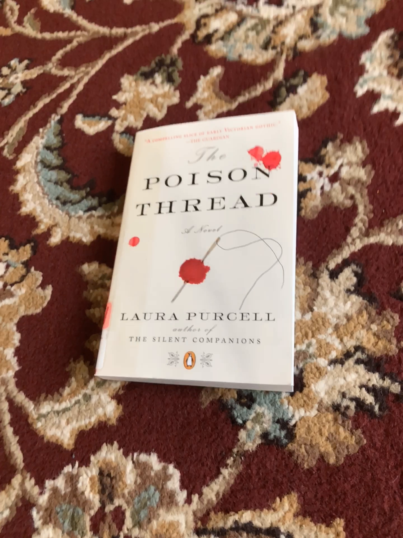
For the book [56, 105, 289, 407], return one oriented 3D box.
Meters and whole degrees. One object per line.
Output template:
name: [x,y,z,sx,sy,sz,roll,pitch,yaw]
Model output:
book: [-0.012,-0.014,0.310,0.140,0.030,0.200,-2,67,17]
